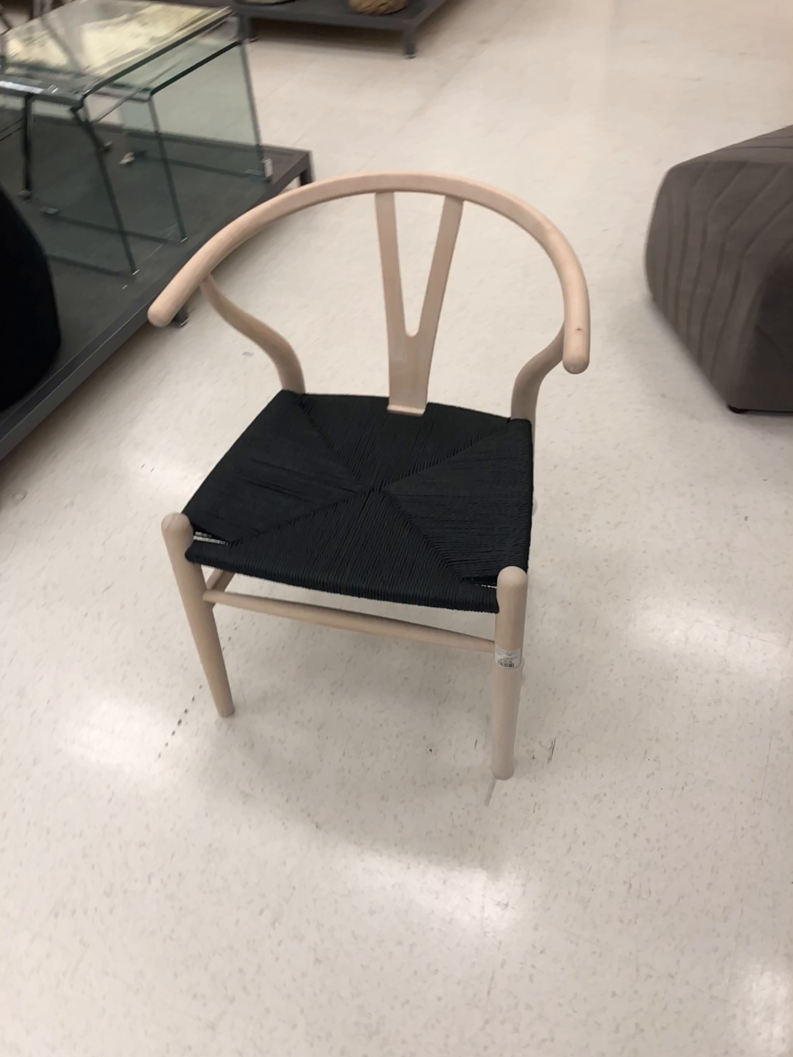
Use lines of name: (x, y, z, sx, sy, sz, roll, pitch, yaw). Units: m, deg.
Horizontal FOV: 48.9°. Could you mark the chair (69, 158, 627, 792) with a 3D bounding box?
chair: (-0.004, -0.075, 1.357, 0.559, 0.728, 0.557, 9, 48, 13)
